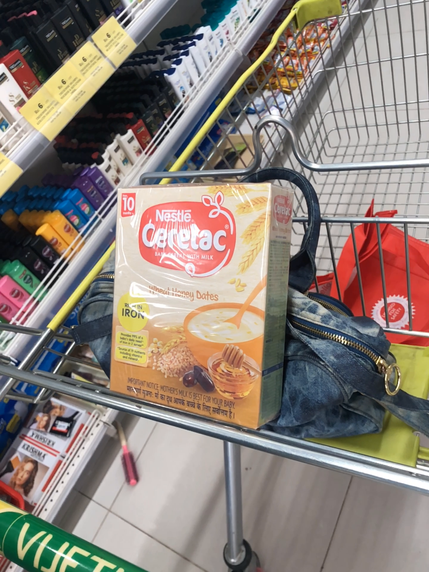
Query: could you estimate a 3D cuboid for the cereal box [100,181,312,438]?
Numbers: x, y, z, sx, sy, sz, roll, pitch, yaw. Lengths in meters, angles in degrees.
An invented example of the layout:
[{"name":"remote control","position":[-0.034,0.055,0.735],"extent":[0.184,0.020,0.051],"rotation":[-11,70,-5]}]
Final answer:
[{"name":"cereal box","position":[-0.013,0.011,0.419],"extent":[0.171,0.060,0.190],"rotation":[5,93,31]}]
